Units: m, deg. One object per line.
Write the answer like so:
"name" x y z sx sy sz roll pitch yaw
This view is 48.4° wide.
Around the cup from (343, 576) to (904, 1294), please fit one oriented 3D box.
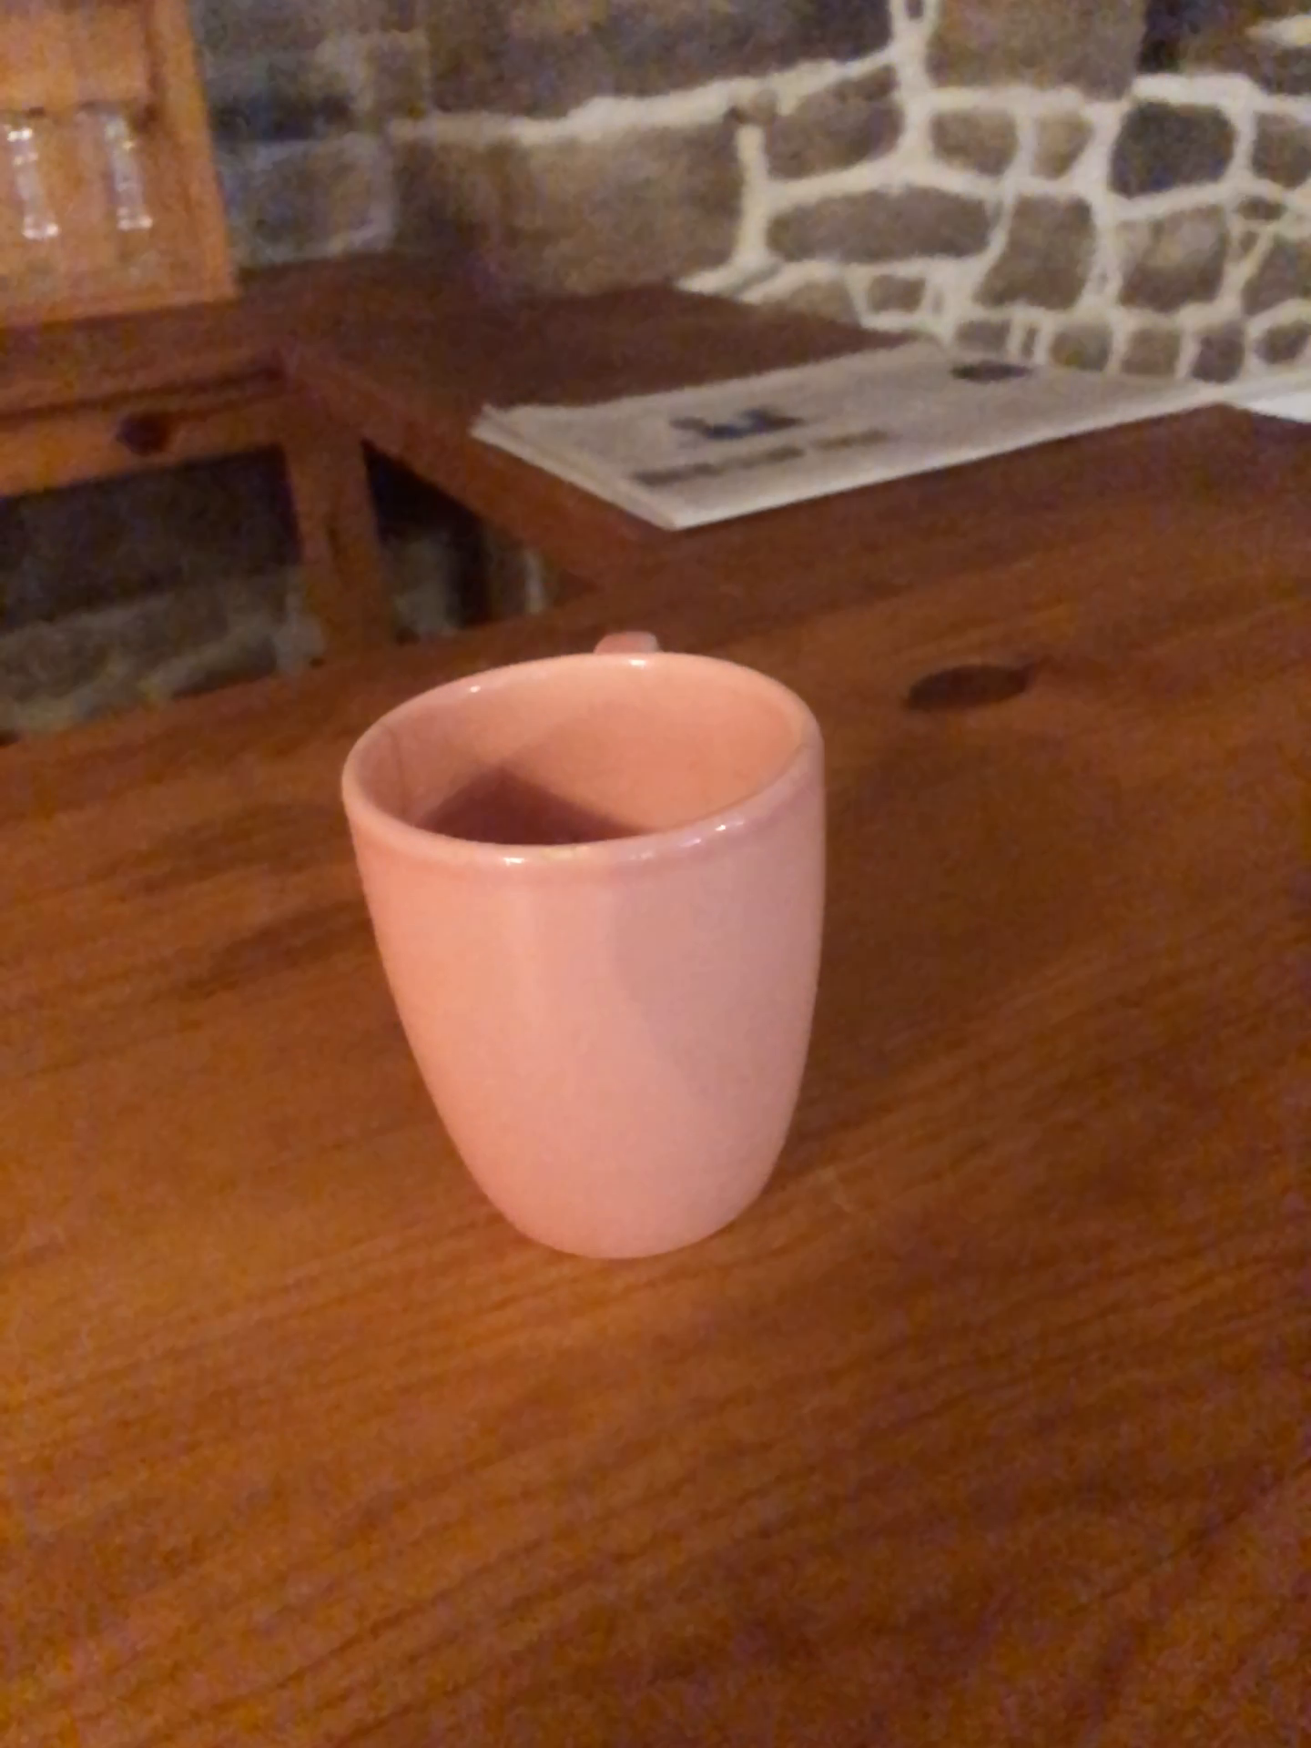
"cup" -0.006 0.005 0.309 0.090 0.095 0.122 -5 29 -1
